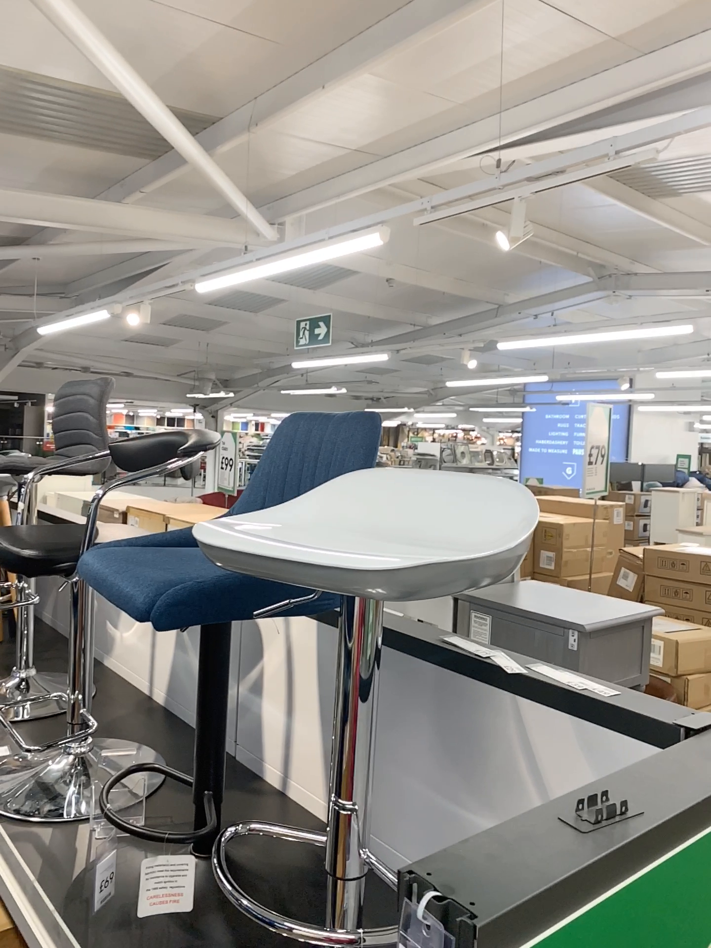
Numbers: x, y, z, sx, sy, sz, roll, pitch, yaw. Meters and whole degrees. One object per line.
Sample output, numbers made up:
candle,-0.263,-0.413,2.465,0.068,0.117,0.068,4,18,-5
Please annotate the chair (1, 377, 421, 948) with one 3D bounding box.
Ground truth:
chair,-0.265,0.301,1.296,0.483,0.882,0.532,2,2,-44

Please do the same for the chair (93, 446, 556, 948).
chair,-0.036,0.378,0.954,0.402,0.803,0.403,4,2,41
